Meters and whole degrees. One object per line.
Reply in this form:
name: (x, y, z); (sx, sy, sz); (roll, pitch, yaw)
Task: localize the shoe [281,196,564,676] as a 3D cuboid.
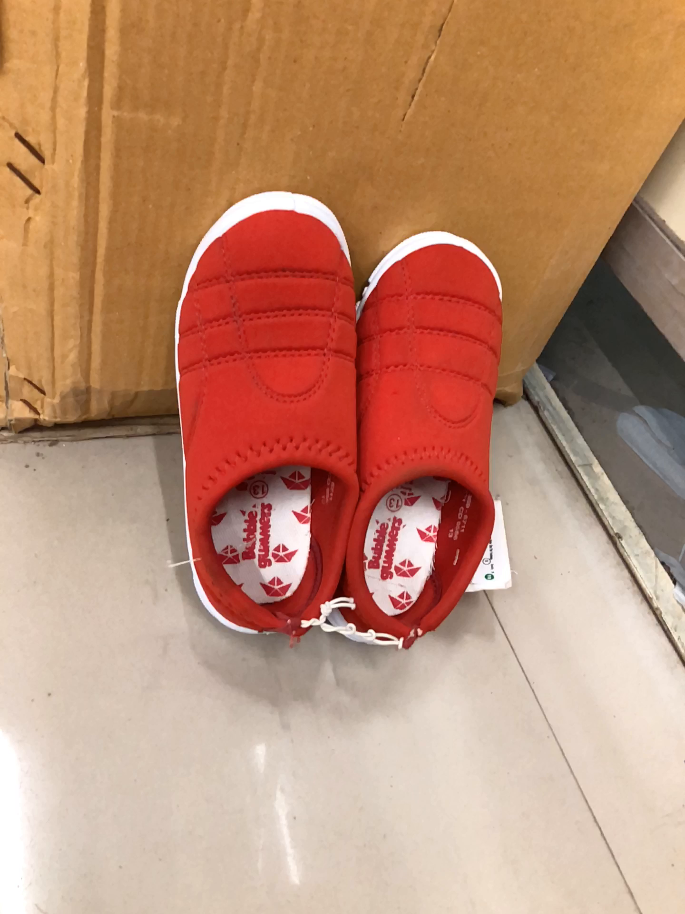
shoe: (0.032, -0.010, 0.382); (0.084, 0.208, 0.081); (10, 7, -11)

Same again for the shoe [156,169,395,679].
shoe: (-0.038, -0.016, 0.350); (0.085, 0.204, 0.082); (-2, 13, -21)
